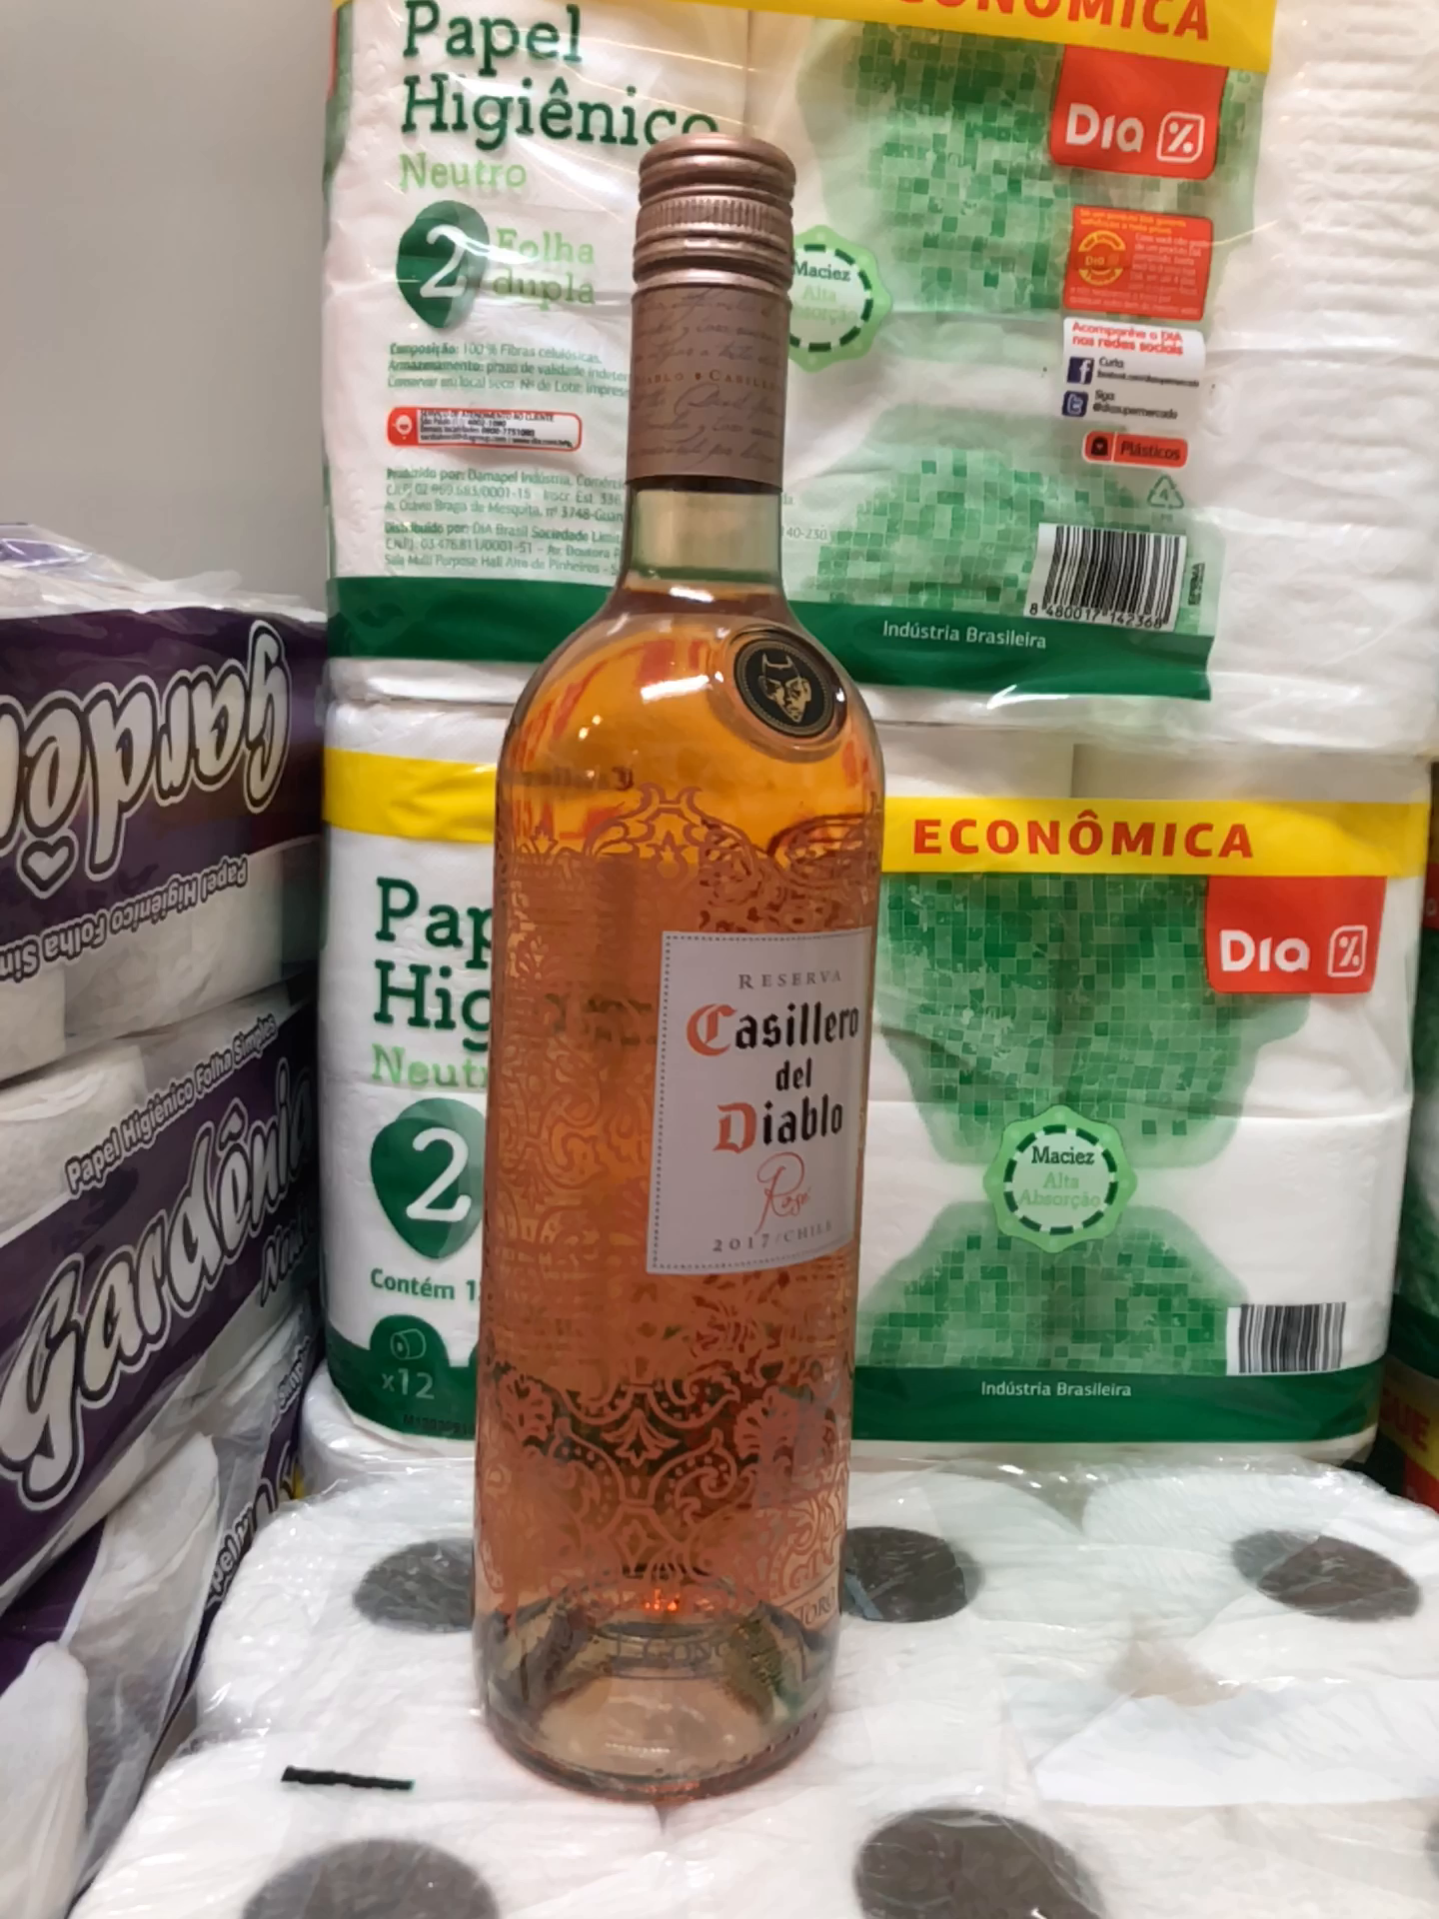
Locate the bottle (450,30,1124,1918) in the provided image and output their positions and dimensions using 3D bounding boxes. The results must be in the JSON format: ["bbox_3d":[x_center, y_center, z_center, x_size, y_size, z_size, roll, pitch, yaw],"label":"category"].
[{"bbox_3d":[0.004,0.012,0.304,0.090,0.309,0.080,-2,10,-25],"label":"bottle"}]
